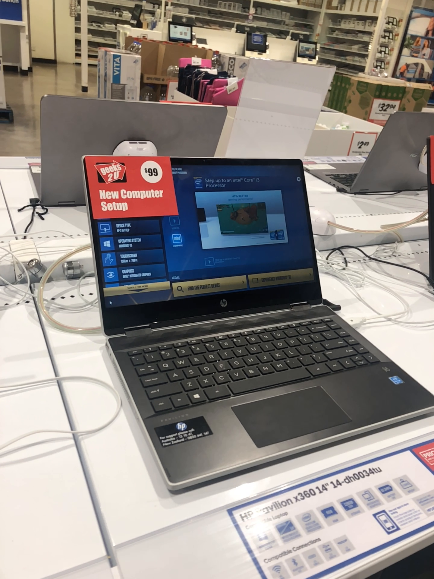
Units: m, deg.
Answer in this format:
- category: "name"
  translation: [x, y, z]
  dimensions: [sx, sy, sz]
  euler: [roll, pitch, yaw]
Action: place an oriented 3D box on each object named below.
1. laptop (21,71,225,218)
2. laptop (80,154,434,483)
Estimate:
- category: "laptop"
  translation: [-0.213, -0.307, 0.983]
  dimensions: [0.306, 0.199, 0.358]
  euler: [-6, 31, -25]
- category: "laptop"
  translation: [0.043, -0.018, 0.543]
  dimensions: [0.316, 0.169, 0.340]
  euler: [-7, 32, -26]
